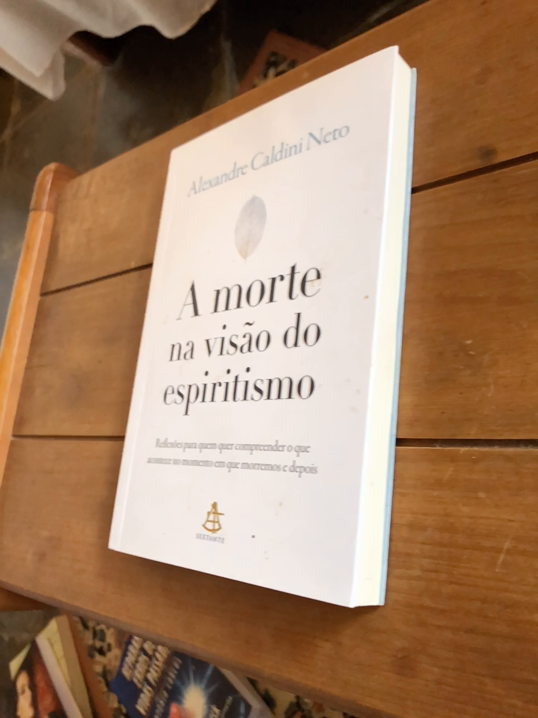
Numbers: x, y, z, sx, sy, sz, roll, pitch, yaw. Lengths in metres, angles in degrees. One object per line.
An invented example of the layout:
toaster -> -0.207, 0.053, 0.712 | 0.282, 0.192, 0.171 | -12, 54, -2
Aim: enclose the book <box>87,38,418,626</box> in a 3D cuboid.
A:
book -> -0.011, -0.013, 0.246 | 0.136, 0.020, 0.196 | -5, 72, 42
